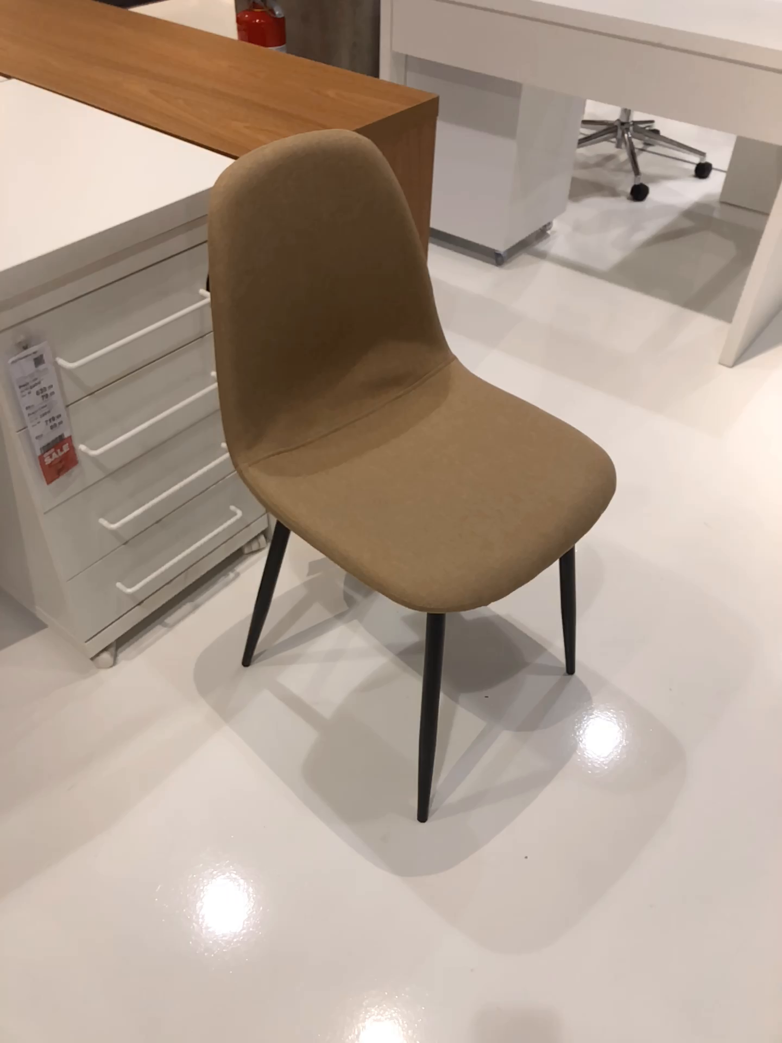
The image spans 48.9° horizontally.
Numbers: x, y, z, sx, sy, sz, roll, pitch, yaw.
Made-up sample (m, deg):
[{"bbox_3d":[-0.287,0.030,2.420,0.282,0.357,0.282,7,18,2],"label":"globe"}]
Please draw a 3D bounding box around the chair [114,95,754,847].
[{"bbox_3d":[0.039,-0.072,1.212,0.521,0.784,0.482,33,51,30],"label":"chair"}]
